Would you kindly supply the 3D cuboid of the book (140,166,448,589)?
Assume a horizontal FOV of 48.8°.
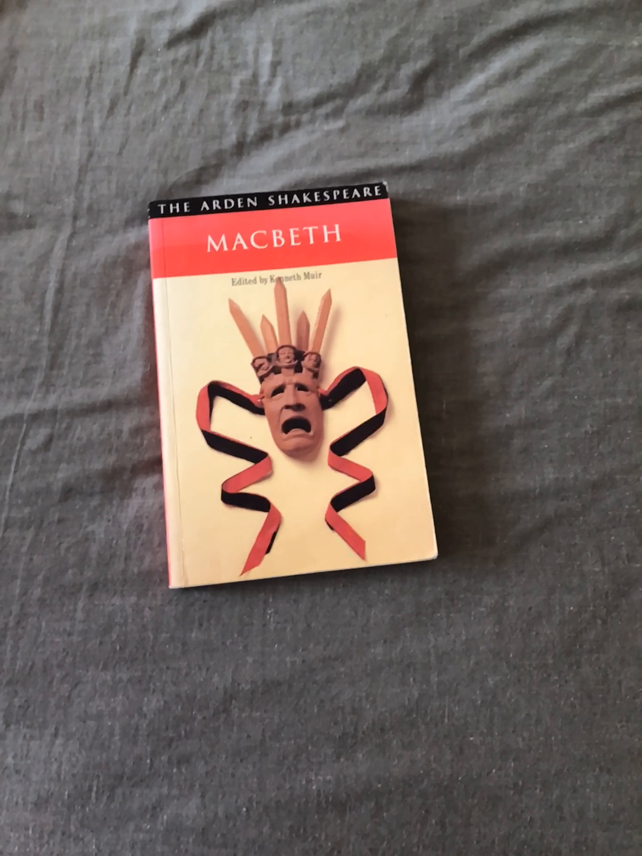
[{"bbox_3d":[-0.018,-0.029,0.348,0.130,0.020,0.200,-6,77,-1],"label":"book"}]
